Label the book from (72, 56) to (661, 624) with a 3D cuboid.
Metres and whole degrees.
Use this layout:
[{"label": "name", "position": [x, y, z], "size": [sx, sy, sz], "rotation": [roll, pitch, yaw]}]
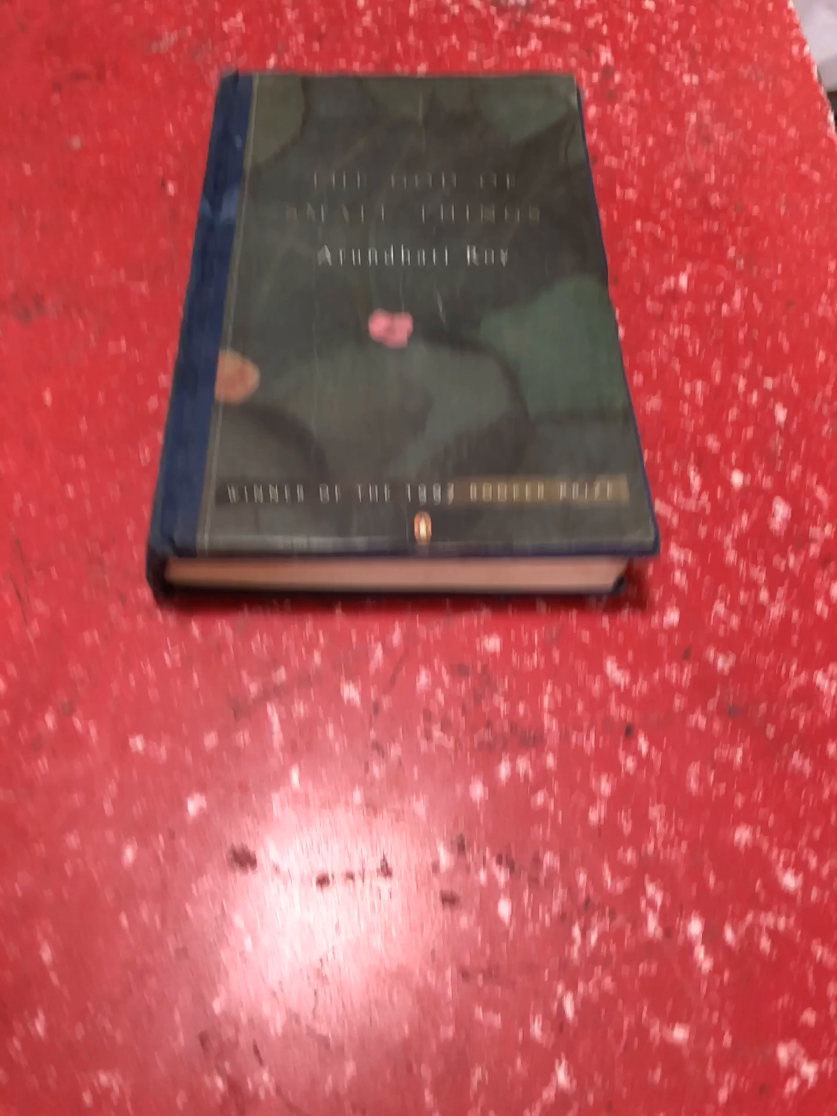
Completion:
[{"label": "book", "position": [-0.013, -0.085, 0.313], "size": [0.150, 0.040, 0.220], "rotation": [0, 58, 0]}]
